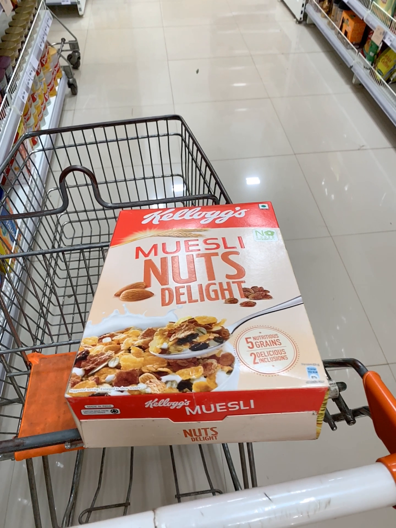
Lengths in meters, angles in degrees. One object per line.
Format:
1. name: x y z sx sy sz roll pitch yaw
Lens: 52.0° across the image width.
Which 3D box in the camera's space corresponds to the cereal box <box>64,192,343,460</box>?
1. cereal box: 0.000 0.036 0.407 0.190 0.079 0.272 -3 40 0
